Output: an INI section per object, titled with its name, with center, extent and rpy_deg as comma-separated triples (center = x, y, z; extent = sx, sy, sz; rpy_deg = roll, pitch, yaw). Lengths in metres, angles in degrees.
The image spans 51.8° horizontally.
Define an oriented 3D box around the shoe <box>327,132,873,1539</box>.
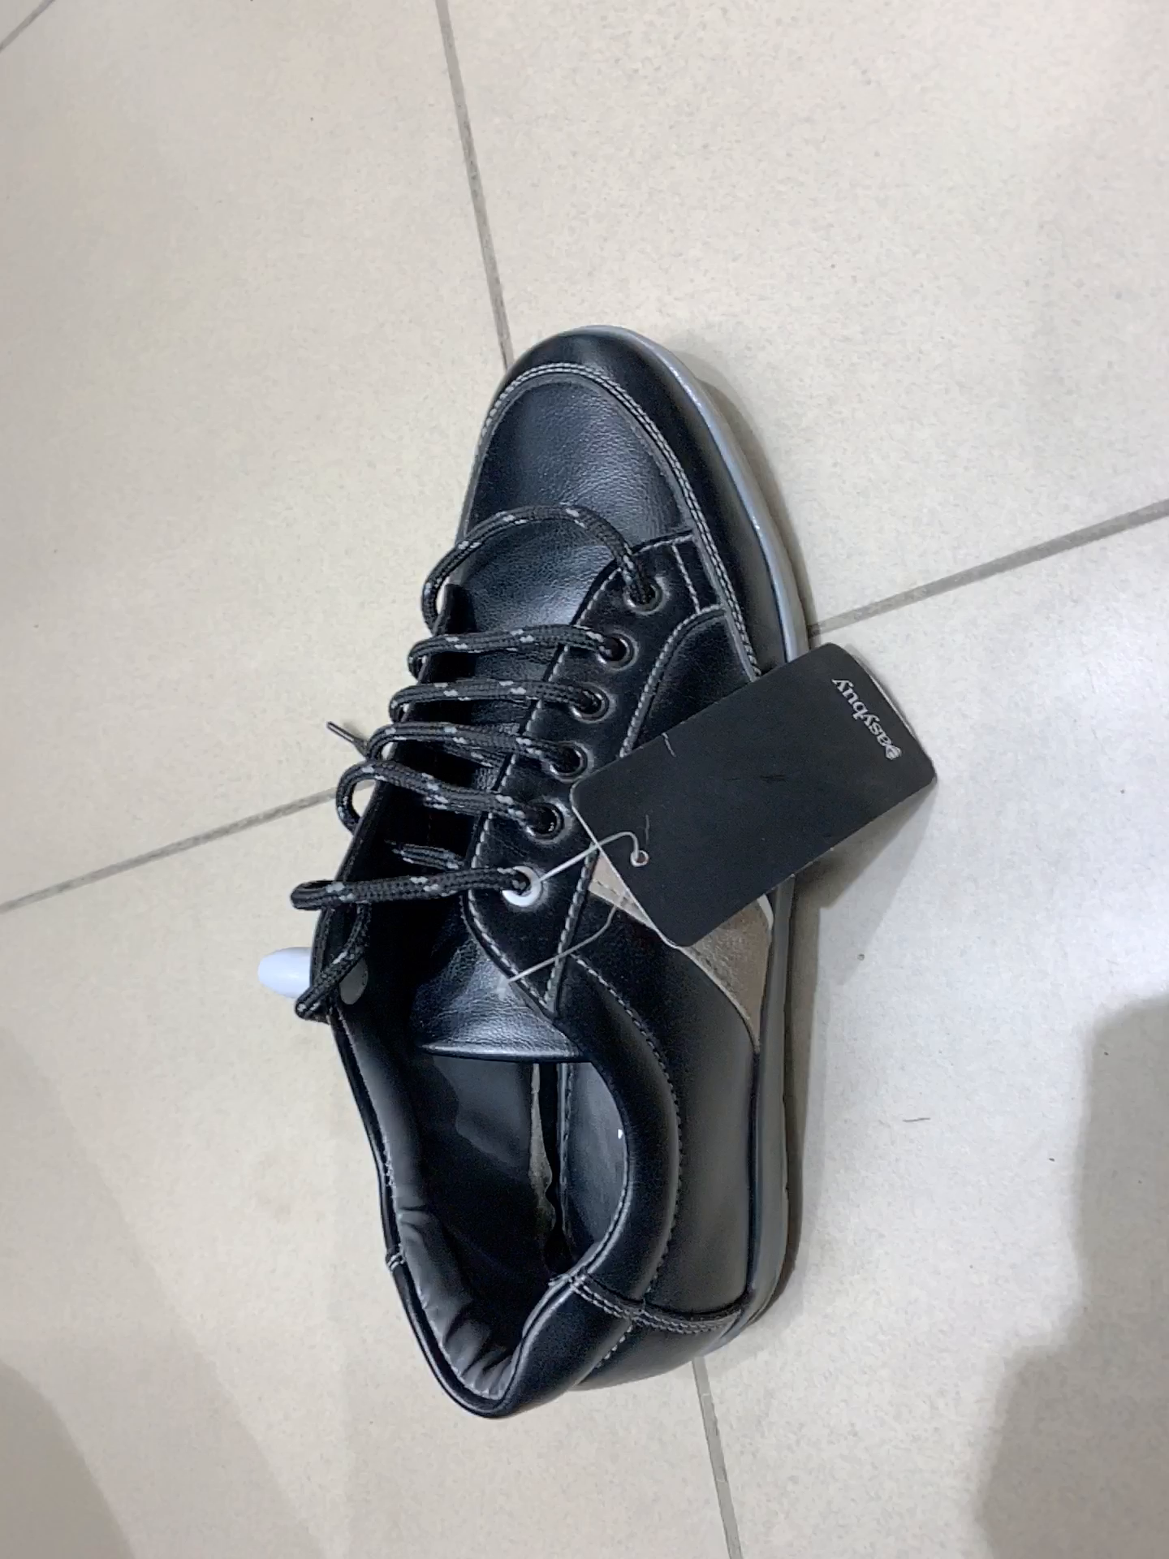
[shoe]
center = 0.003, 0.010, 0.320
extent = 0.100, 0.090, 0.300
rpy_deg = -7, 82, 33
